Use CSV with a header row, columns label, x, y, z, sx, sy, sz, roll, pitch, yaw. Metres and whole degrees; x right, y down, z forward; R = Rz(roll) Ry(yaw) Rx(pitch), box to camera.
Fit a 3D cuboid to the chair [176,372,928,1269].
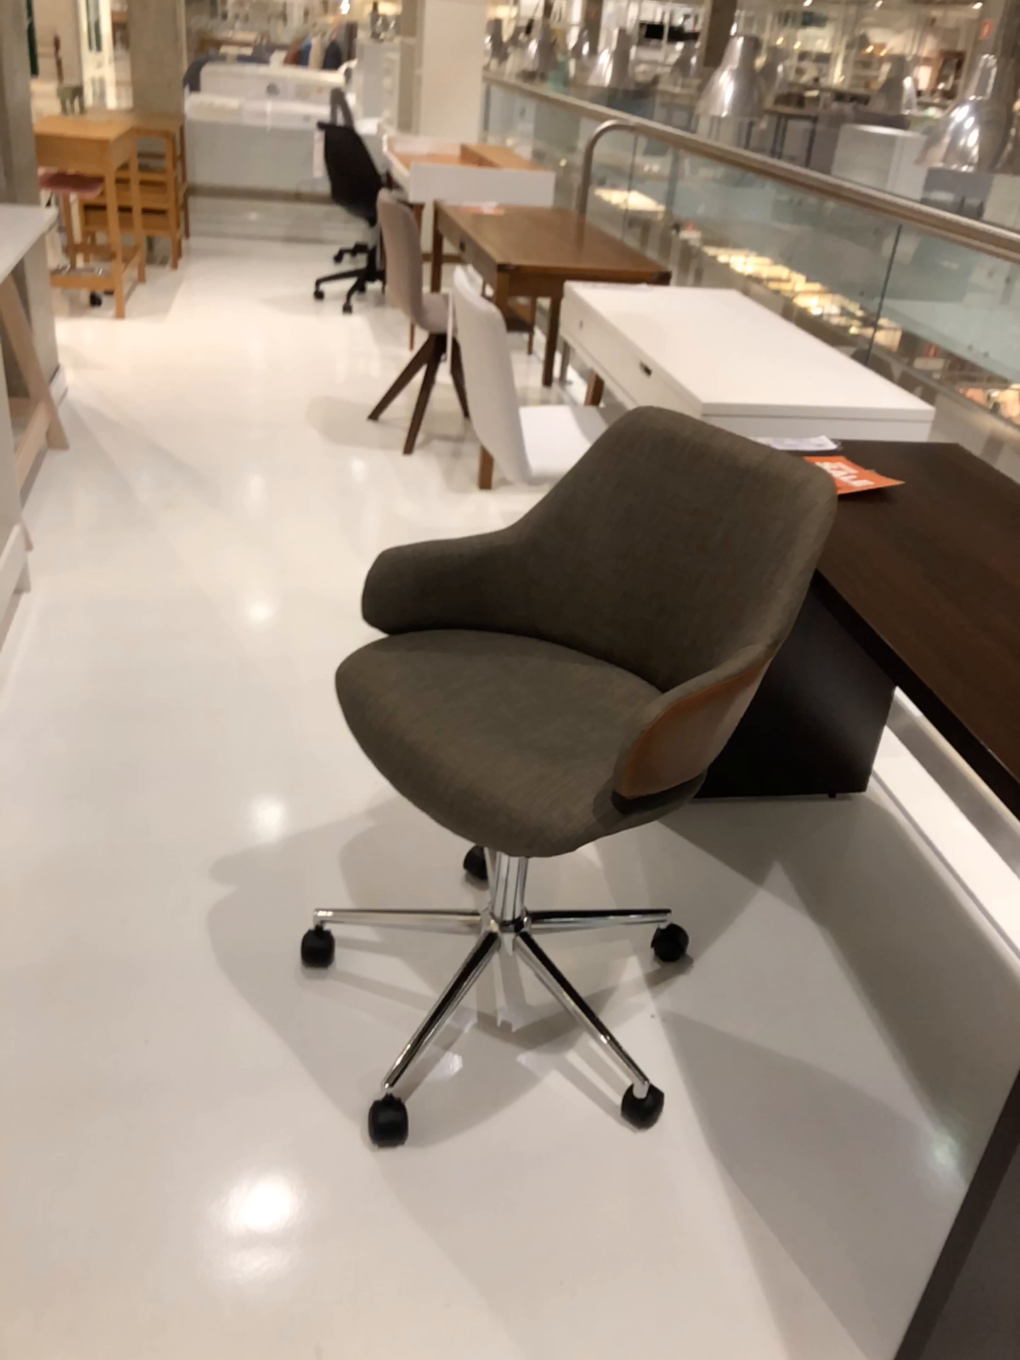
label,x,y,z,sx,sy,sz,roll,pitch,yaw
chair,0.025,0.121,1.589,0.703,0.884,0.612,-21,39,-39
